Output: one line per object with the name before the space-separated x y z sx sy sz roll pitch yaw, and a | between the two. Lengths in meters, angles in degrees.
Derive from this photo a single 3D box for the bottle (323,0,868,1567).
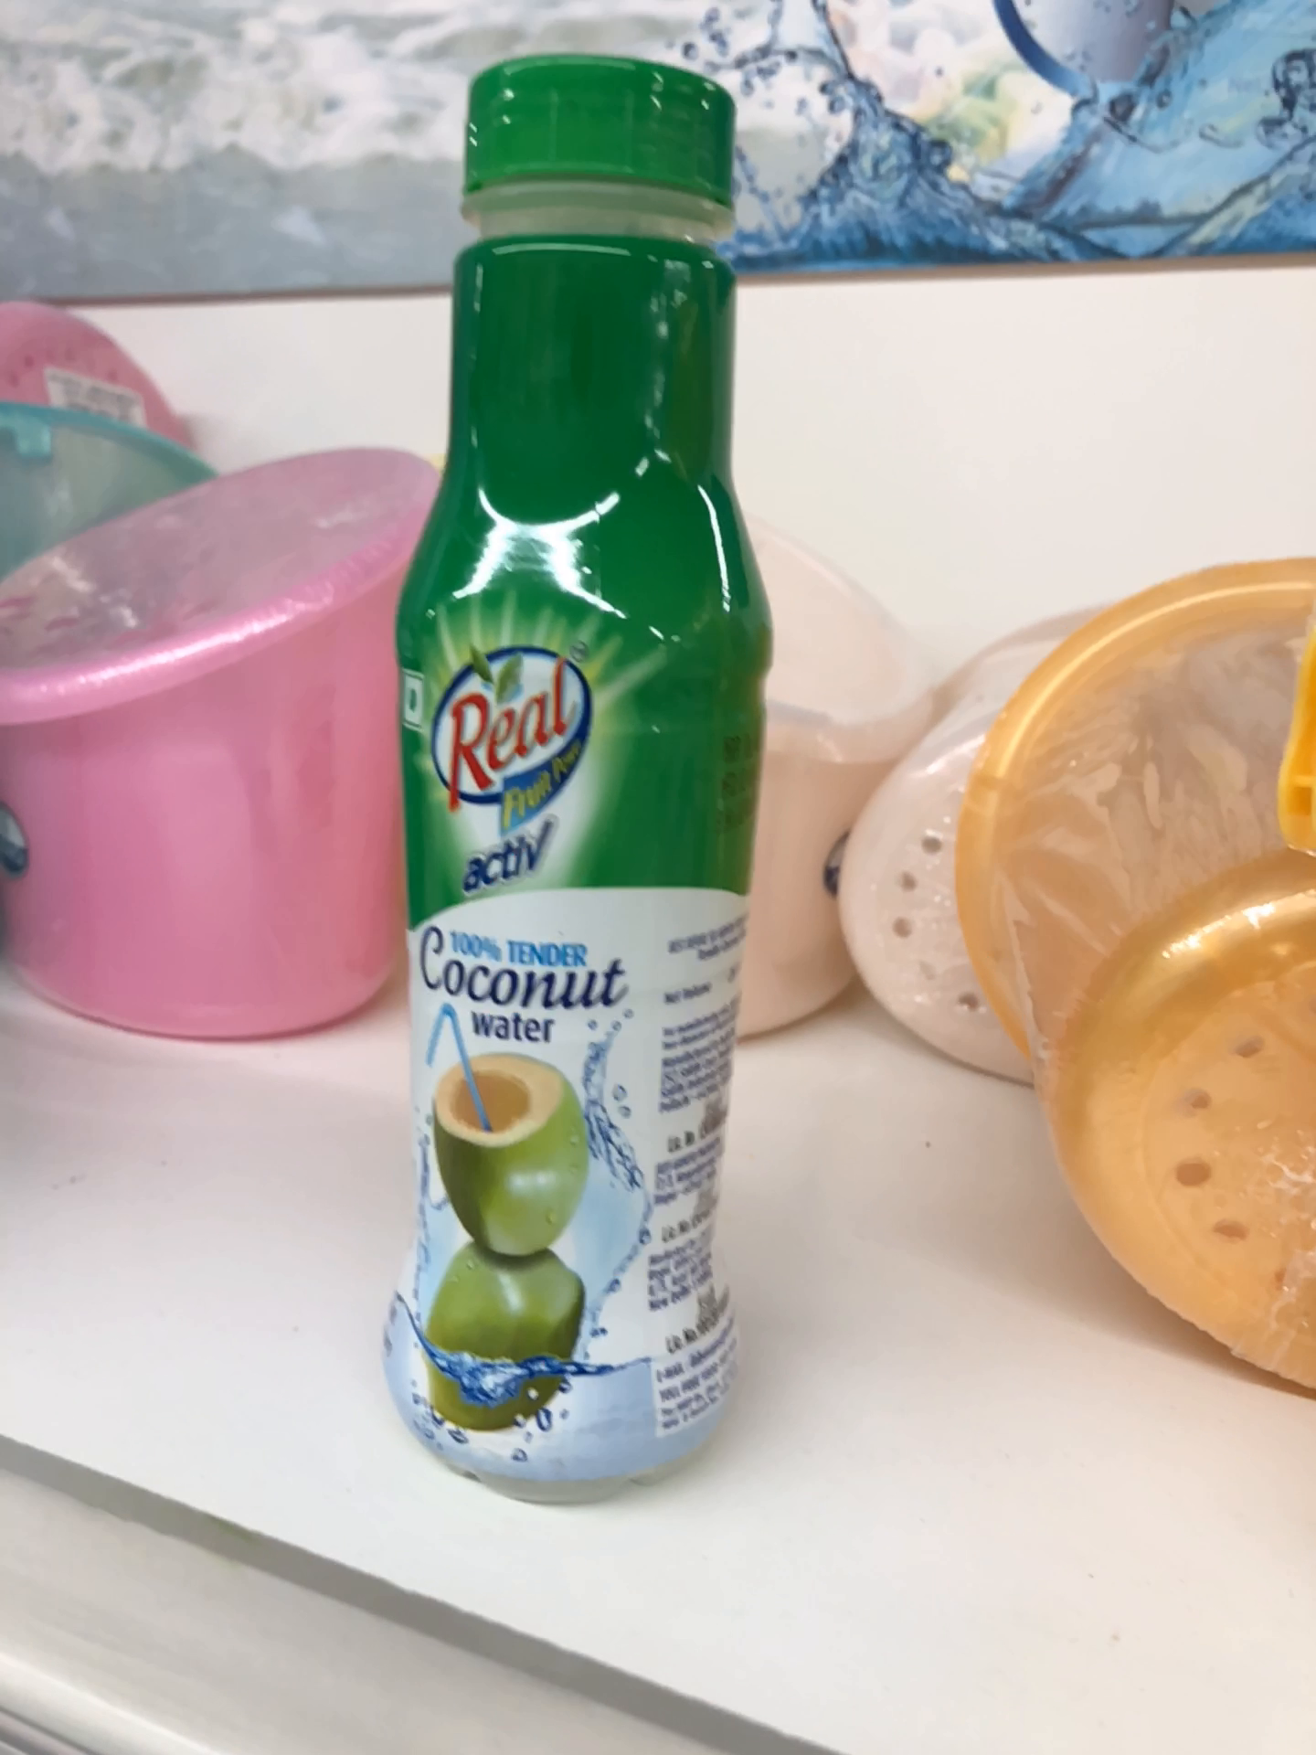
bottle | -0.008 -0.010 0.192 0.050 0.179 0.050 2 14 -1
